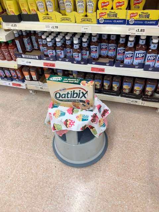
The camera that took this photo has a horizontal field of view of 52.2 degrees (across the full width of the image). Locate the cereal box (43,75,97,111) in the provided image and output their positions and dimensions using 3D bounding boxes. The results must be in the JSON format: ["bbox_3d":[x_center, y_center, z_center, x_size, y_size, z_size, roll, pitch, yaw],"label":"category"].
[{"bbox_3d":[-0.047,-0.073,0.908,0.280,0.168,0.060,8,47,14],"label":"cereal box"}]
